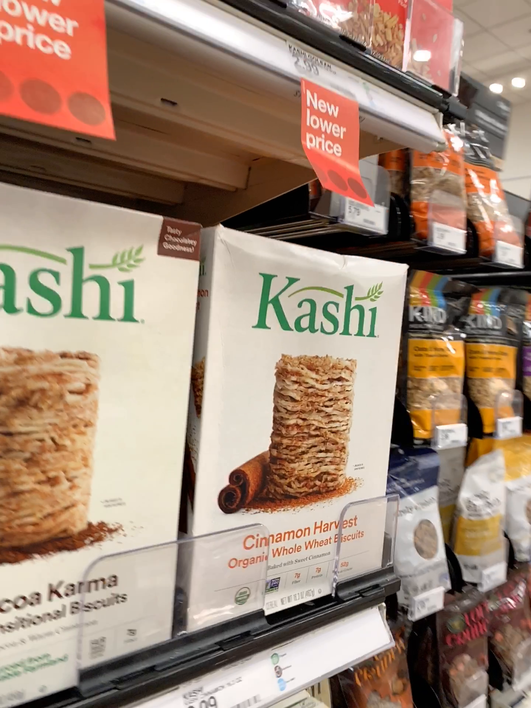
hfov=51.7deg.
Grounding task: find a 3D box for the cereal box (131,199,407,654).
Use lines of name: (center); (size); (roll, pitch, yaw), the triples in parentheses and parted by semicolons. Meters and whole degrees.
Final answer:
cereal box: (0.009, 0.046, 0.421); (0.190, 0.280, 0.070); (2, 3, -38)
